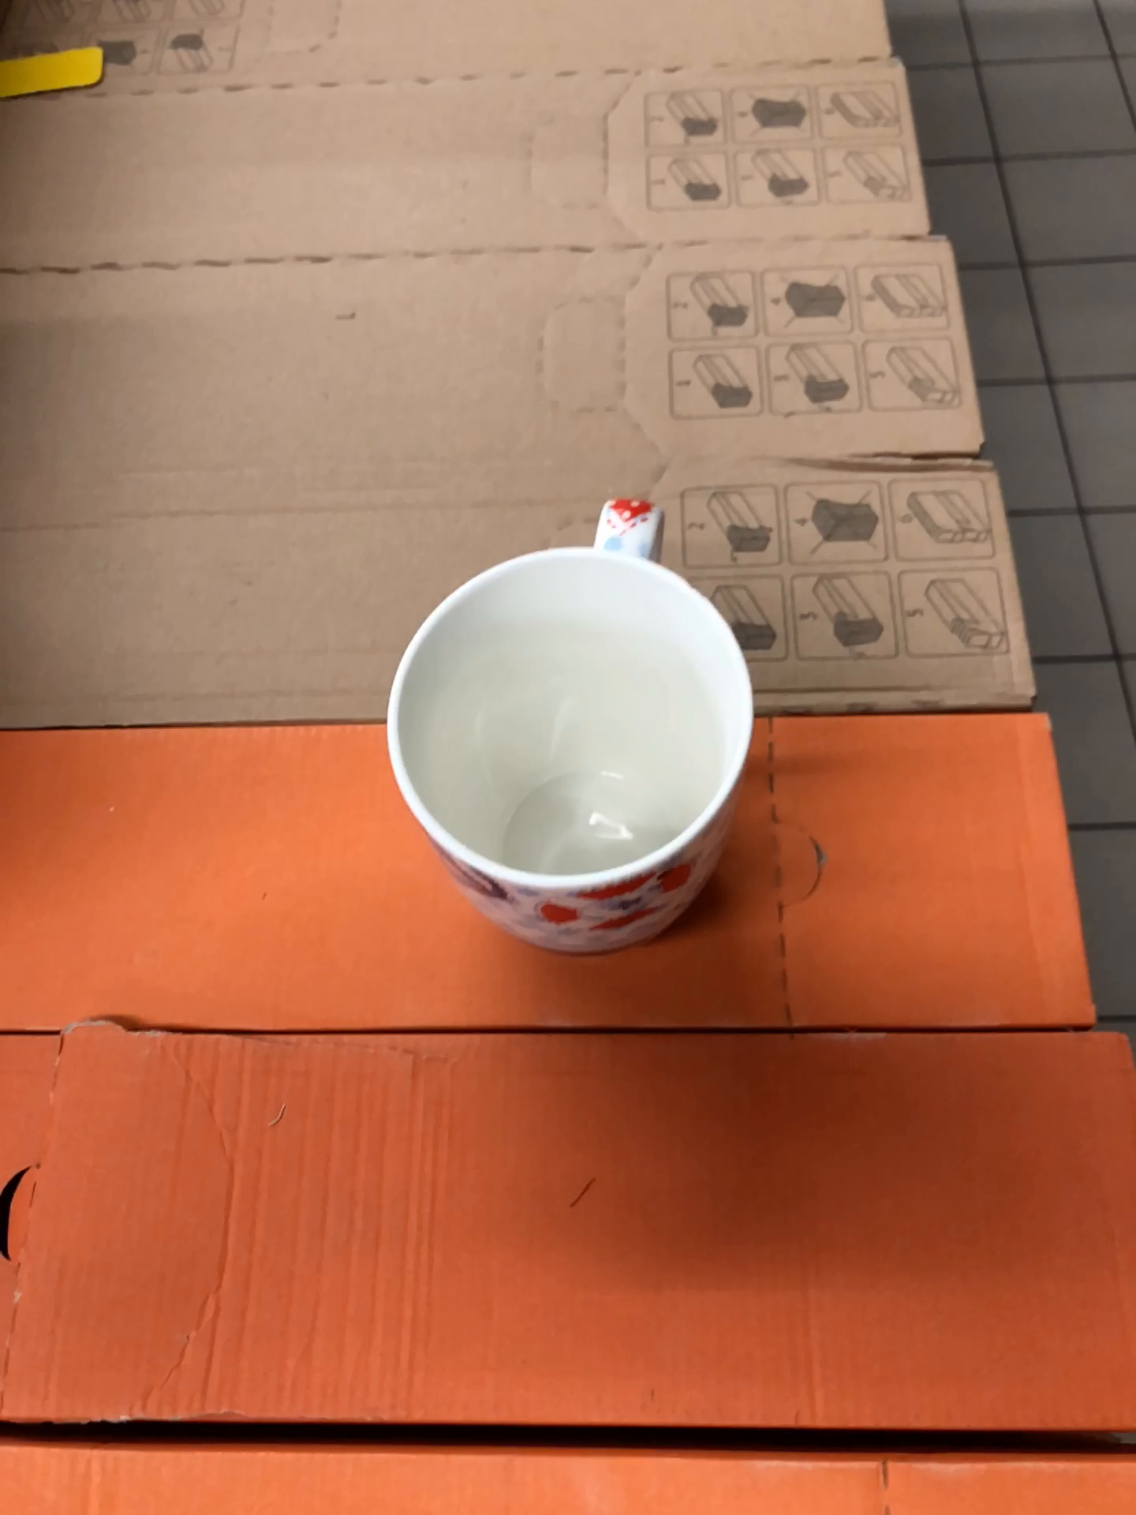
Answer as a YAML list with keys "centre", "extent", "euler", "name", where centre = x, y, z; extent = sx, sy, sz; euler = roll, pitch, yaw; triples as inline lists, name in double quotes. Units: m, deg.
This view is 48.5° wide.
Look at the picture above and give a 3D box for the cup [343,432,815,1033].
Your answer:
- centre: [0.009, -0.004, 0.322]
  extent: [0.086, 0.093, 0.113]
  euler: [9, 64, 8]
  name: "cup"
